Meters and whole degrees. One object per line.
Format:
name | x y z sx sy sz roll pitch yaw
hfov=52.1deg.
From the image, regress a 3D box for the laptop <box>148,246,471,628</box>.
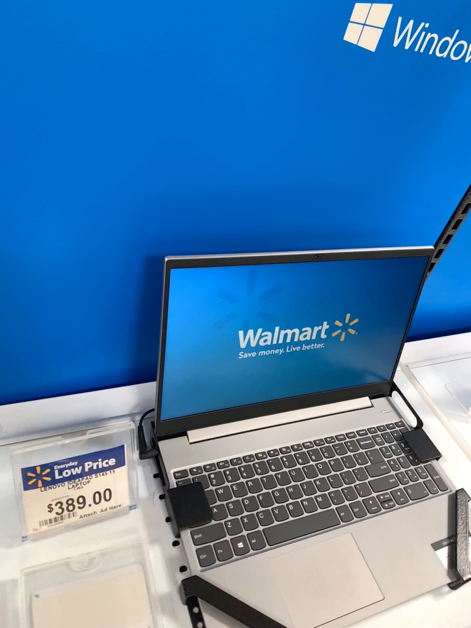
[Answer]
laptop | 0.124 0.114 0.512 0.351 0.217 0.299 -6 46 -24
